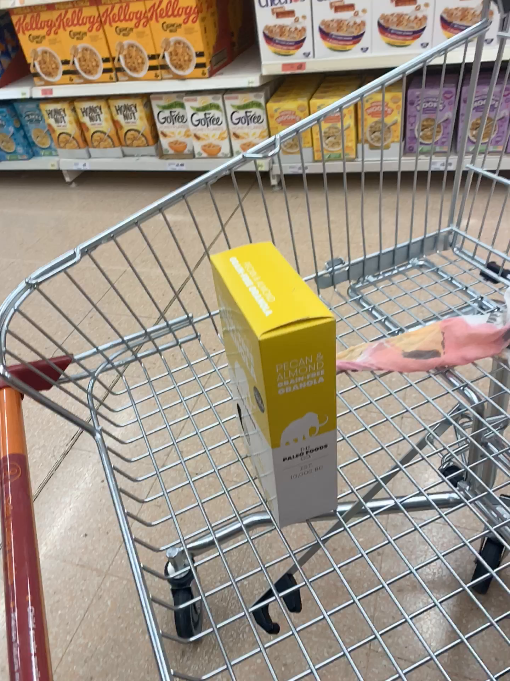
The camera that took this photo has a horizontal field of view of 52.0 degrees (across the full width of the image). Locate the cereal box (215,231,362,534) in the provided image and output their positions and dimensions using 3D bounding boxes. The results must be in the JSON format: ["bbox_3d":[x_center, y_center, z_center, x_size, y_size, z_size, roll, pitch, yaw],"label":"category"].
[{"bbox_3d":[0.026,0.037,0.435,0.060,0.208,0.131,-15,39,-12],"label":"cereal box"}]
